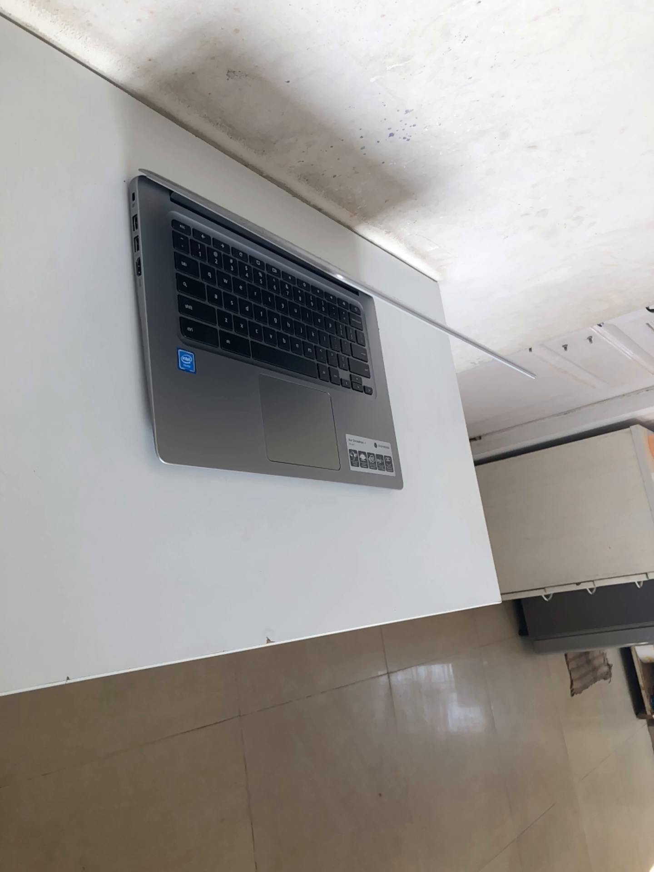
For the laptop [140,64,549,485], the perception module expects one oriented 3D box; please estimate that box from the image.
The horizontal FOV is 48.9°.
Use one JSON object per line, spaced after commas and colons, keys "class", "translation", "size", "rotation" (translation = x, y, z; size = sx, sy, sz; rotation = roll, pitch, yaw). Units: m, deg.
{"class": "laptop", "translation": [0.032, -0.094, 0.607], "size": [0.327, 0.155, 0.221], "rotation": [11, 66, -53]}
